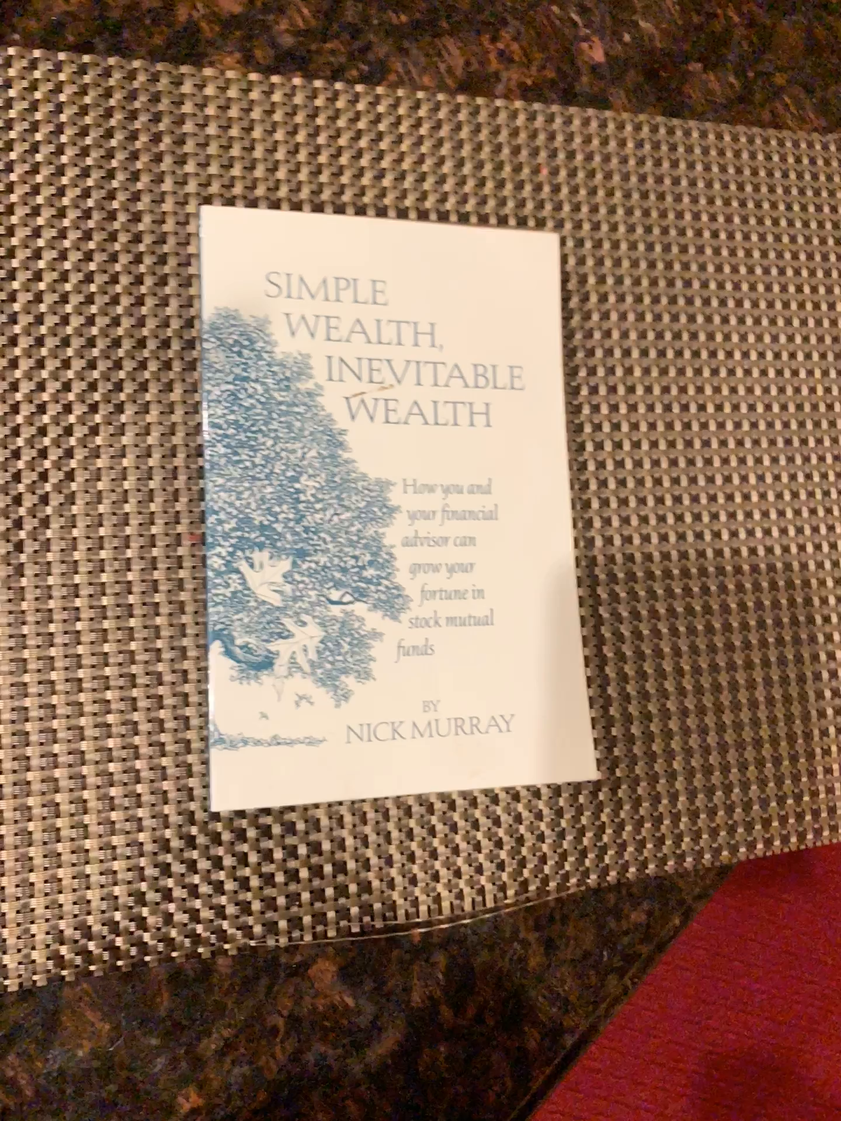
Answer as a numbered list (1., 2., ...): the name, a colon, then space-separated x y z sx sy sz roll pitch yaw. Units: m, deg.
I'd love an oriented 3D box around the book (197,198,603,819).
1. book: -0.008 -0.021 0.319 0.141 0.021 0.210 -1 84 -14
